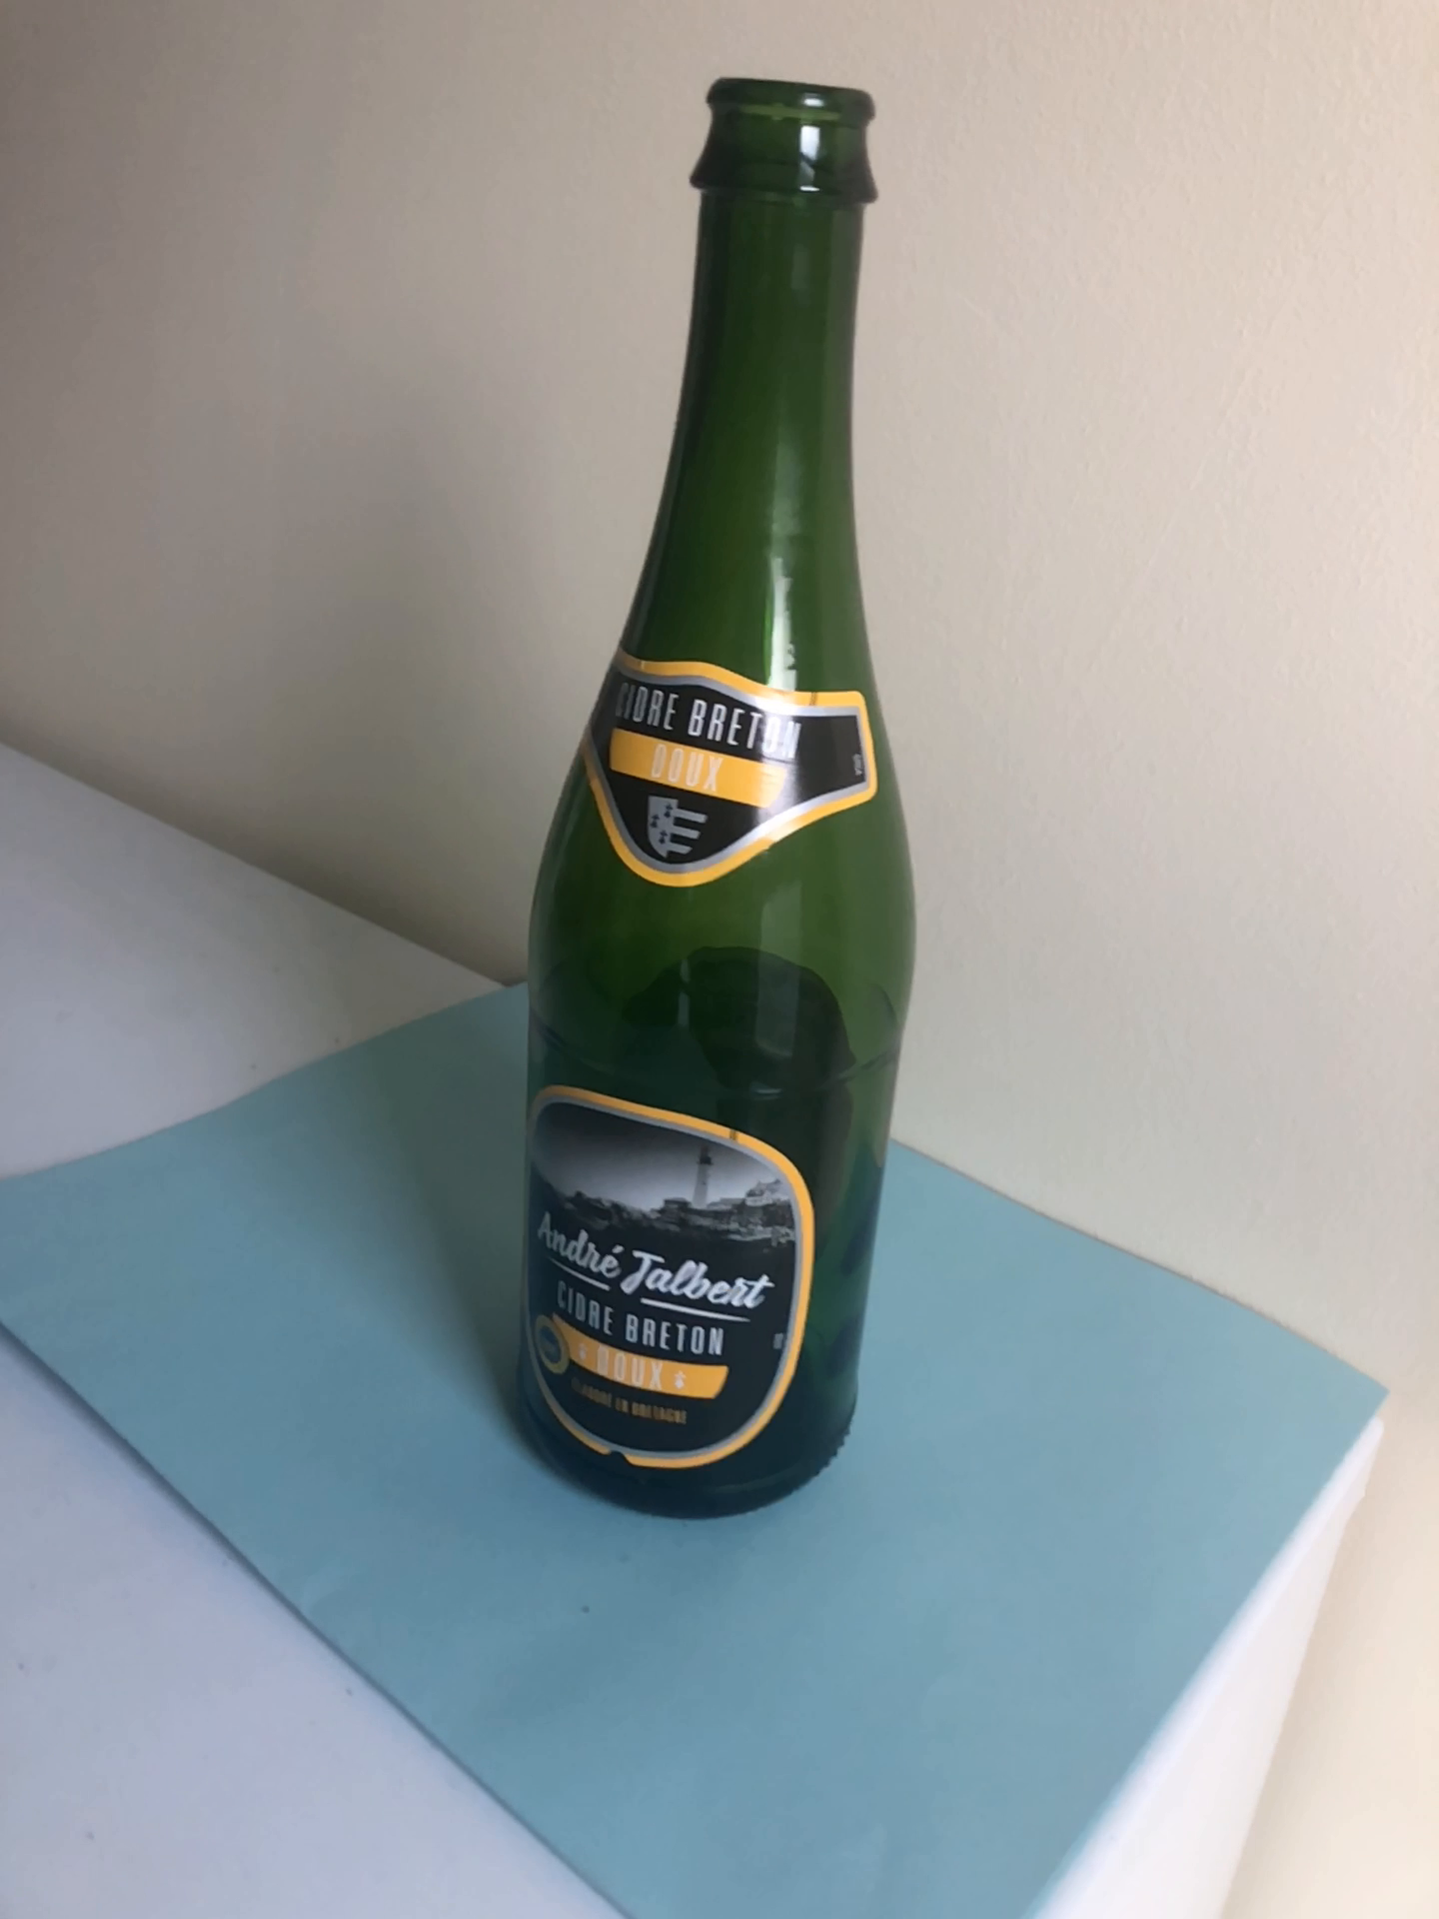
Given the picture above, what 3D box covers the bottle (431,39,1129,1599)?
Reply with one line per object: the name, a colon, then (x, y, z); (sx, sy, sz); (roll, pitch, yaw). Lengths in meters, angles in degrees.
bottle: (0.004, -0.018, 0.318); (0.090, 0.278, 0.081); (14, 28, 19)
